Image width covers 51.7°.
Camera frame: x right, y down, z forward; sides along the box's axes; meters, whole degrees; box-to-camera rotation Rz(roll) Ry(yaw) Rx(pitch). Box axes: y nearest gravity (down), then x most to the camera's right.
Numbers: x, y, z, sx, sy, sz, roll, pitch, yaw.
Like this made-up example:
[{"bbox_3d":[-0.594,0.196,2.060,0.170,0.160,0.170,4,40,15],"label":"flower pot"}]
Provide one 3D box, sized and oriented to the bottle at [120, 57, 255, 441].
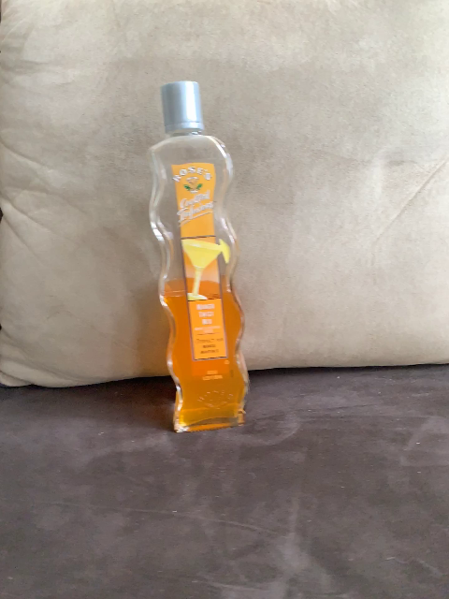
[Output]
[{"bbox_3d":[-0.028,-0.037,0.407,0.080,0.299,0.080,-4,12,1],"label":"bottle"}]
